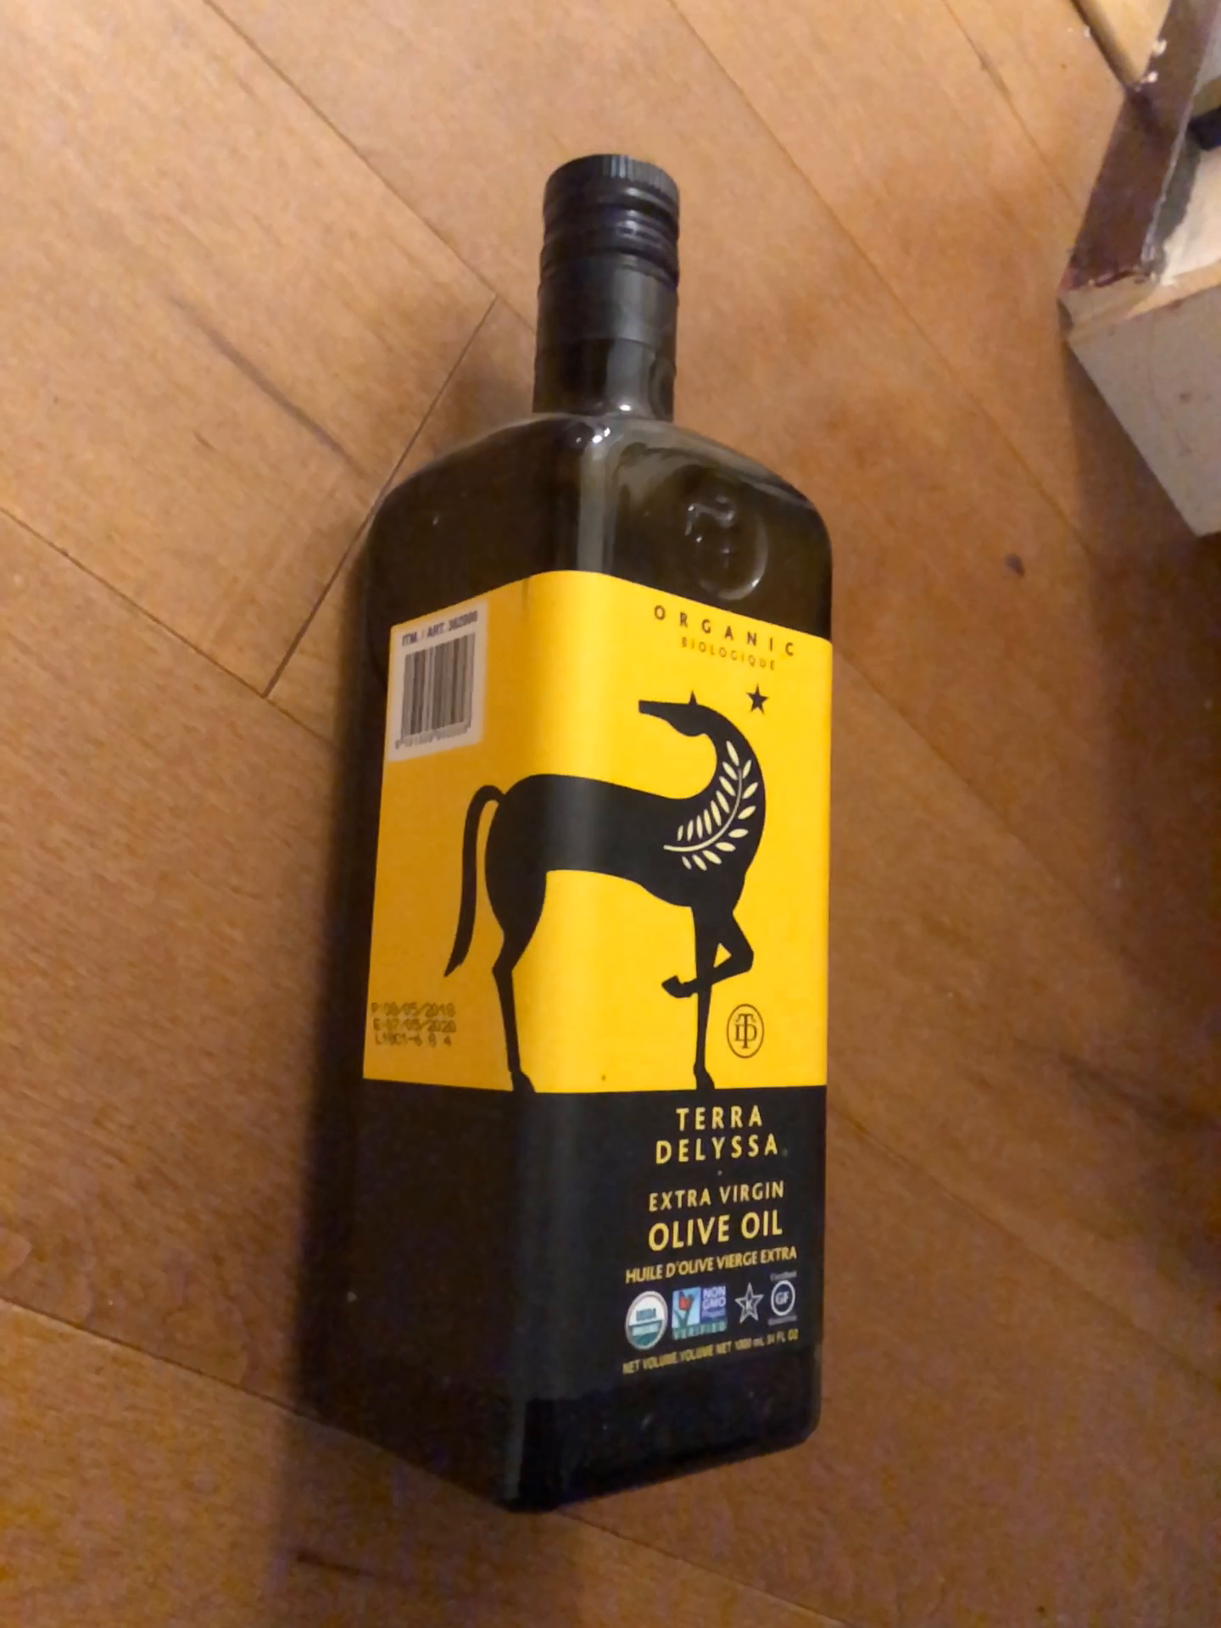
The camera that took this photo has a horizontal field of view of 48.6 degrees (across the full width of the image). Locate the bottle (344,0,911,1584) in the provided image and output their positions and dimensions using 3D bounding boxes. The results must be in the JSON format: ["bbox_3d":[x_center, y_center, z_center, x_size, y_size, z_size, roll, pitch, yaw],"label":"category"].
[{"bbox_3d":[0.008,-0.010,0.275,0.090,0.060,0.270,8,80,-40],"label":"bottle"}]
